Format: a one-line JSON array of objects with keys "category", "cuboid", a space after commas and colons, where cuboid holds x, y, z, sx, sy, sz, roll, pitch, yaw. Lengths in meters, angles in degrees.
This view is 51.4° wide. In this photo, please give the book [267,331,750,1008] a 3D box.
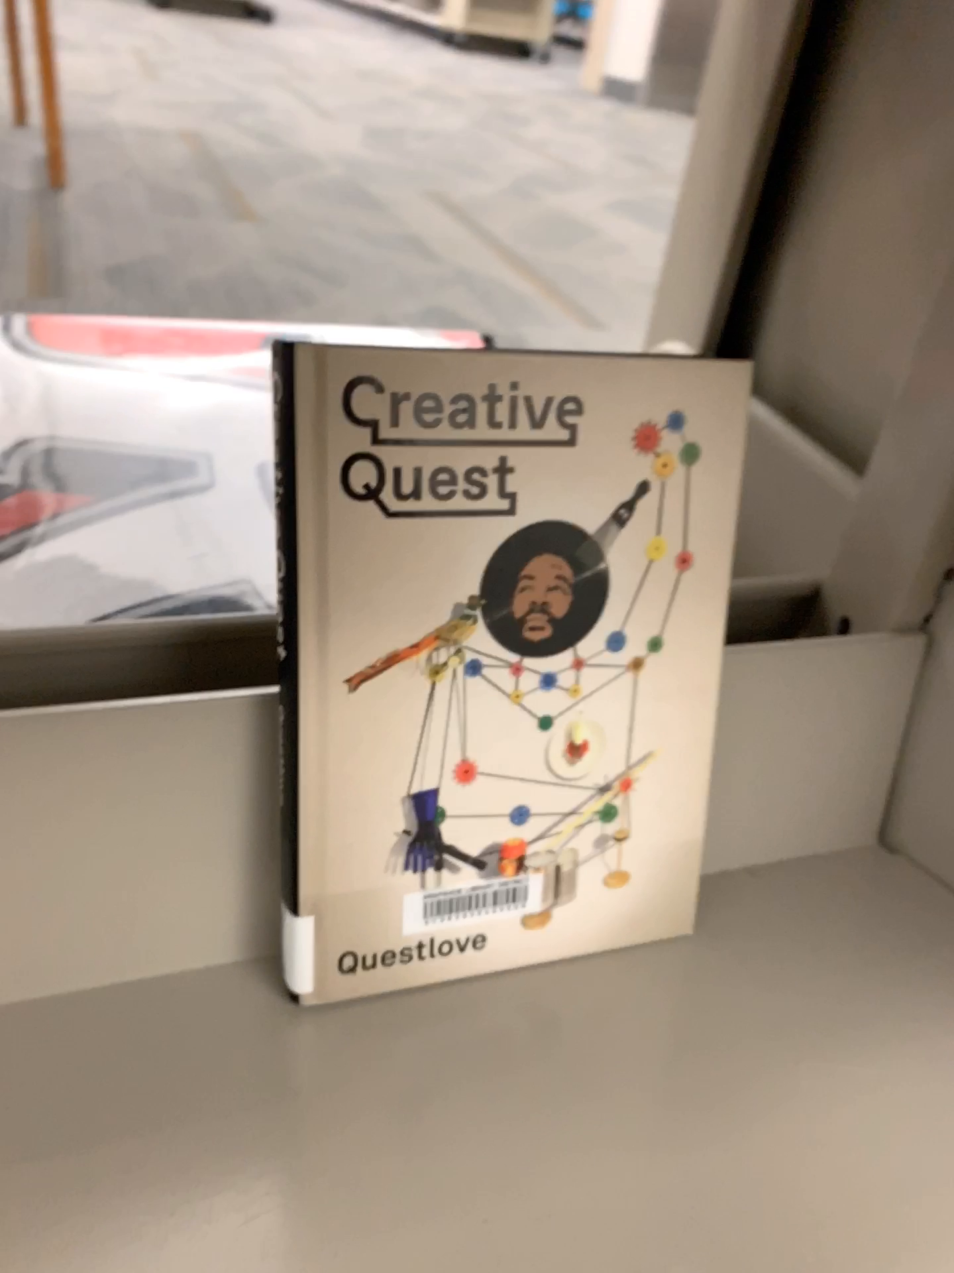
[{"category": "book", "cuboid": [0.010, 0.011, 0.356, 0.160, 0.223, 0.031, -4, 16, -20]}]
